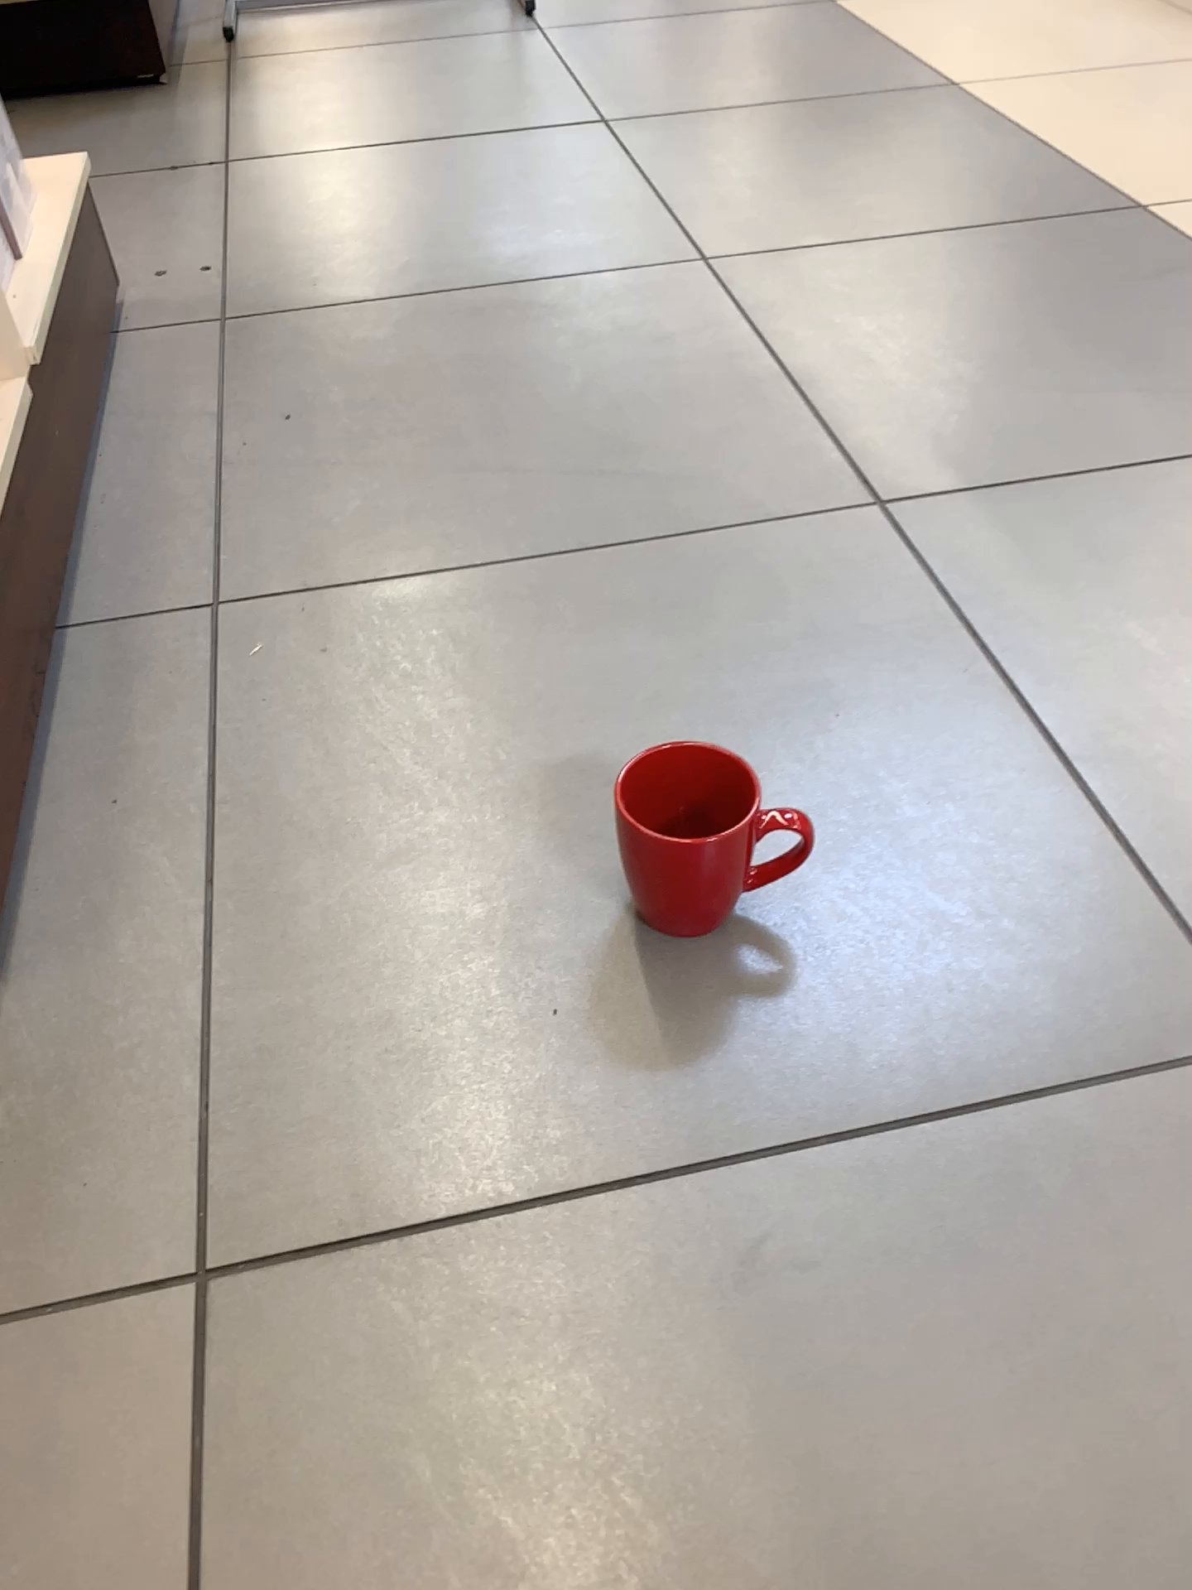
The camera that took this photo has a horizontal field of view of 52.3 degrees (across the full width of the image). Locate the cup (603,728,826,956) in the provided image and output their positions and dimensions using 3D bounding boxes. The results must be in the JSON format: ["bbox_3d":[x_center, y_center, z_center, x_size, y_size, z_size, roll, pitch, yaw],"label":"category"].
[{"bbox_3d":[0.072,0.027,0.724,0.120,0.090,0.090,4,44,8],"label":"cup"}]
